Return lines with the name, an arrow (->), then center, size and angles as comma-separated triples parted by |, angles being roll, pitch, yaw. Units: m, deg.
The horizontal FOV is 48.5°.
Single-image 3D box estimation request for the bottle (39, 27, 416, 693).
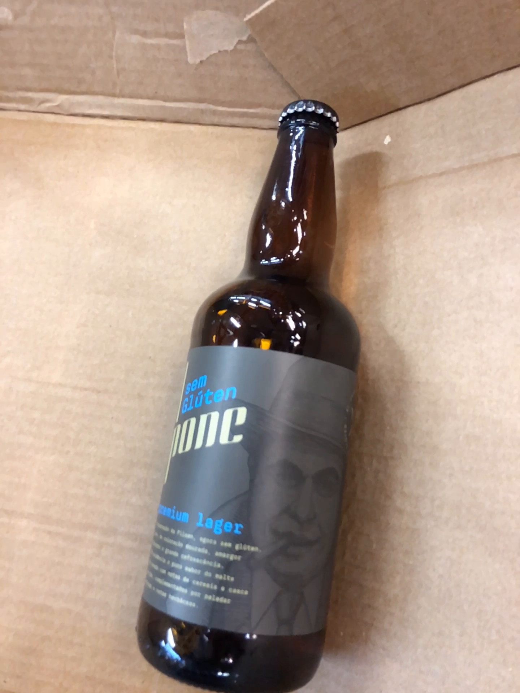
bottle -> -0.002, 0.008, 0.222 | 0.080, 0.060, 0.240 | 2, 74, 32
